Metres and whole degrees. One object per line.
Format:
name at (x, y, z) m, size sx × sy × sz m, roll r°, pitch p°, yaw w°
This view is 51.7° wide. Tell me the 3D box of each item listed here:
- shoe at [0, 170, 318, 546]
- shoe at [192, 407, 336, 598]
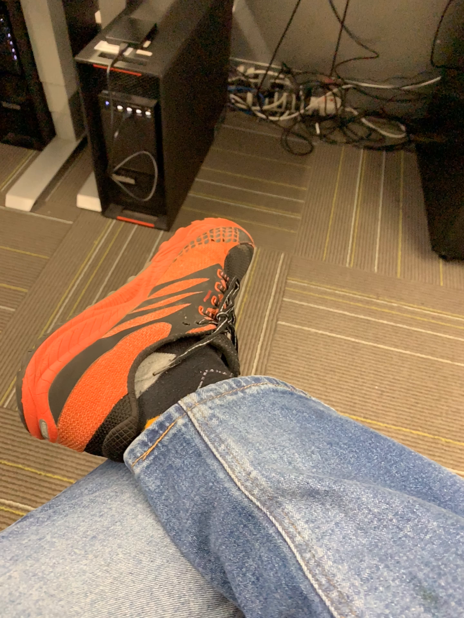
shoe at (-0.052, 0.015, 0.447) m, size 0.146 × 0.110 × 0.322 m, roll 20°, pitch 51°, yaw 18°
shoe at (0.067, 0.351, 0.905) m, size 0.117 × 0.067 × 0.319 m, roll 31°, pitch 56°, yaw 14°
